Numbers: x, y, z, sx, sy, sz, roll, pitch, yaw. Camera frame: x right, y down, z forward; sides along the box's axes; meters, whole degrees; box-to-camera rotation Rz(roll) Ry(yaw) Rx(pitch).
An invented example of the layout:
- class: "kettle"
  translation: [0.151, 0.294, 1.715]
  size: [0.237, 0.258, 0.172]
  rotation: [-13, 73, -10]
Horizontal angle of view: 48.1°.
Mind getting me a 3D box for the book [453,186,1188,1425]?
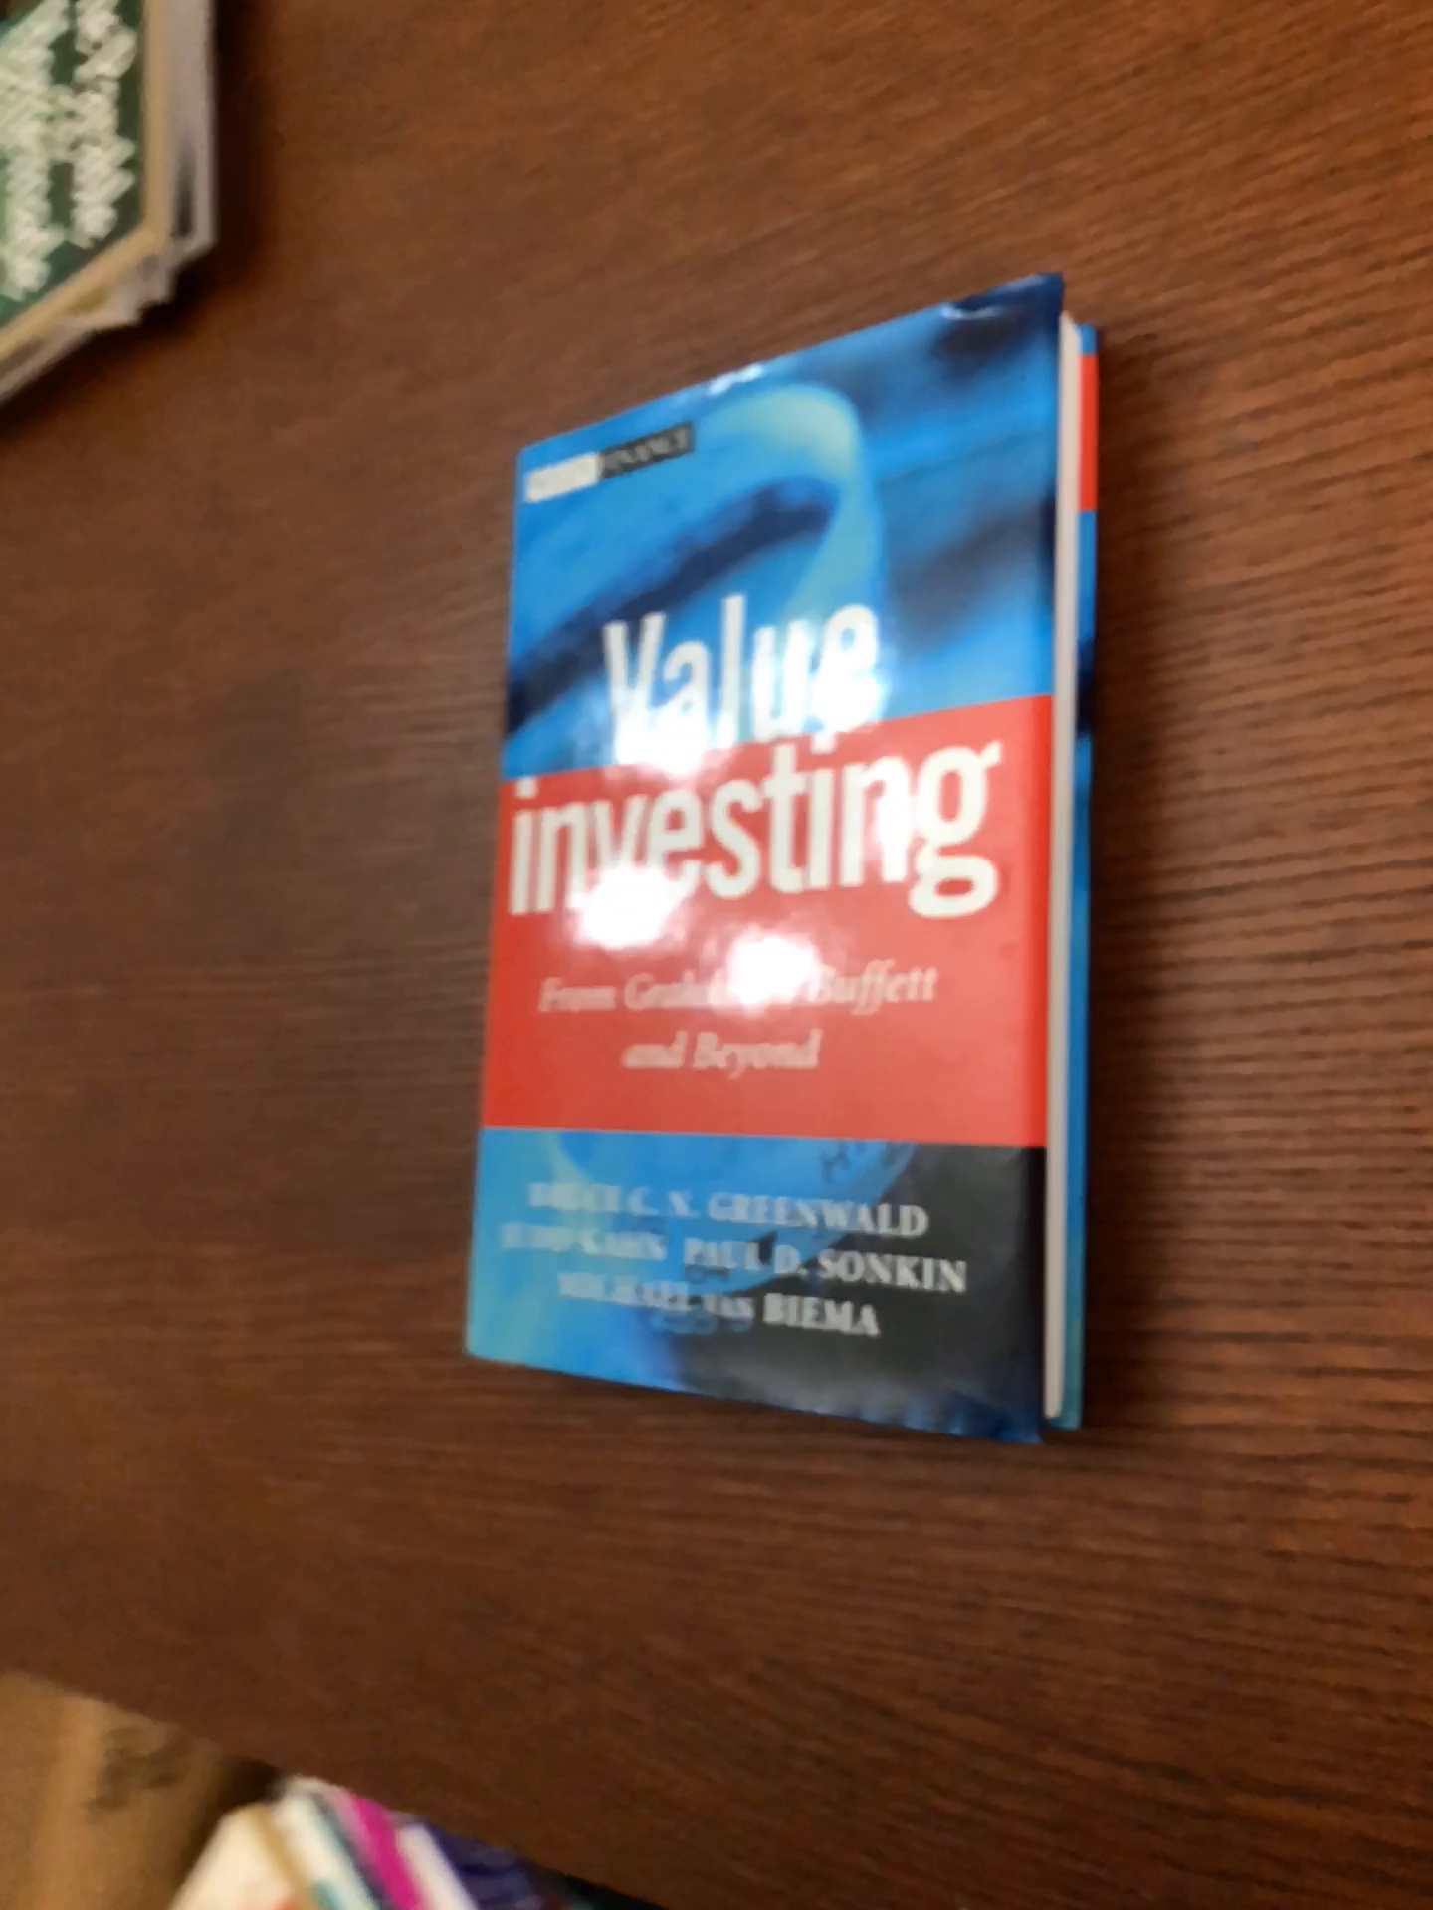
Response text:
- class: "book"
  translation: [0.015, -0.029, 0.353]
  size: [0.170, 0.020, 0.230]
  rotation: [-2, 81, 39]
